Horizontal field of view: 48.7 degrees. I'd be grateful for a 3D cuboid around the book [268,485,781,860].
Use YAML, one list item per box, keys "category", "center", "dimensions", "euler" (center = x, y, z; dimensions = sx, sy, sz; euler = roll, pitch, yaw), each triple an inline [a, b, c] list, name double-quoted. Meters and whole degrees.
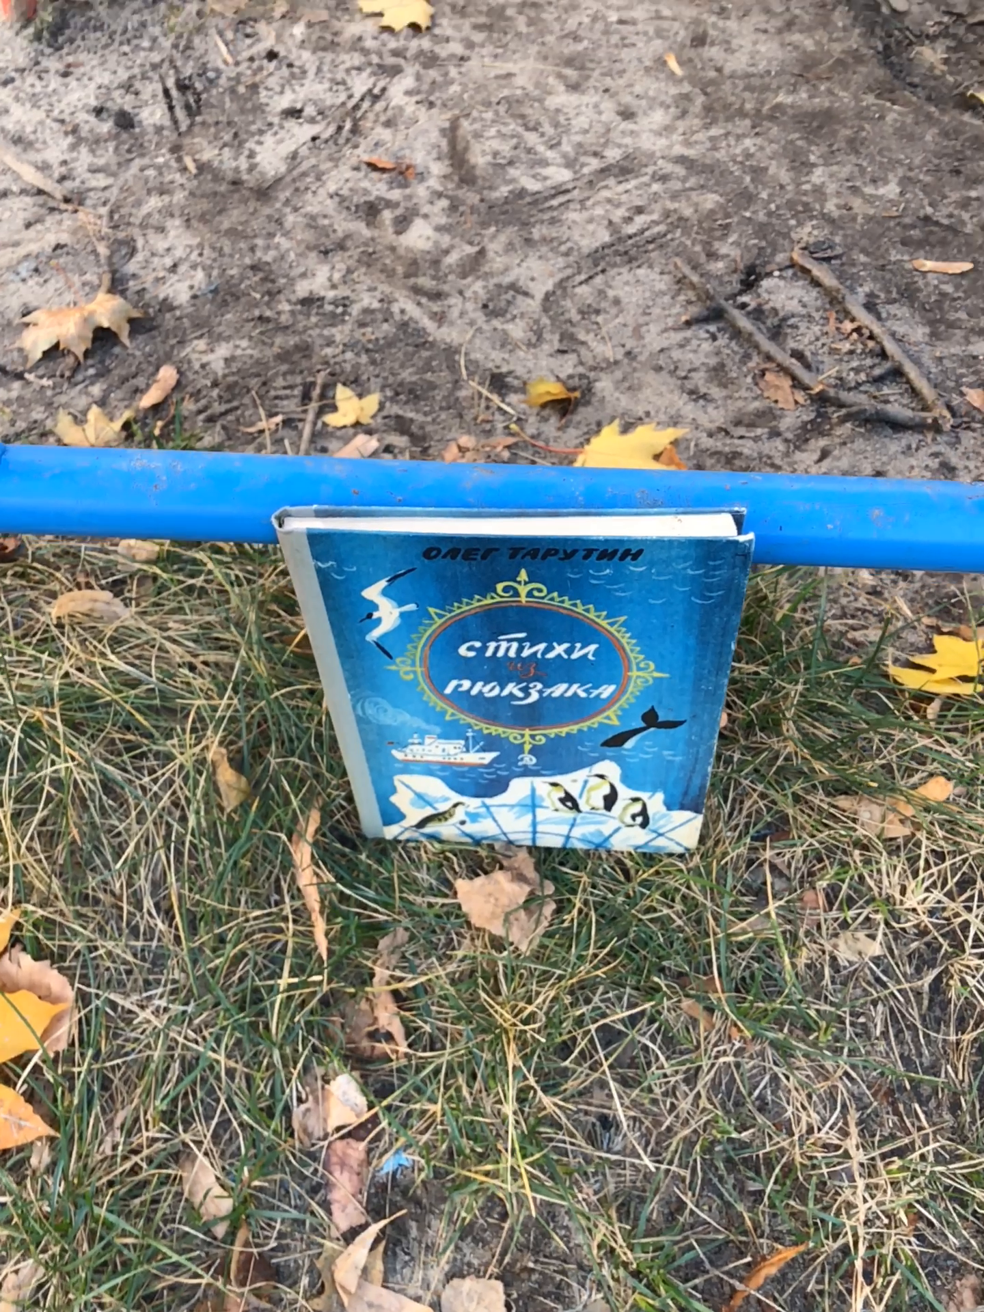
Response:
- category: "book"
  center: [0.011, 0.019, 0.464]
  dimensions: [0.179, 0.210, 0.023]
  euler: [1, 47, 1]
